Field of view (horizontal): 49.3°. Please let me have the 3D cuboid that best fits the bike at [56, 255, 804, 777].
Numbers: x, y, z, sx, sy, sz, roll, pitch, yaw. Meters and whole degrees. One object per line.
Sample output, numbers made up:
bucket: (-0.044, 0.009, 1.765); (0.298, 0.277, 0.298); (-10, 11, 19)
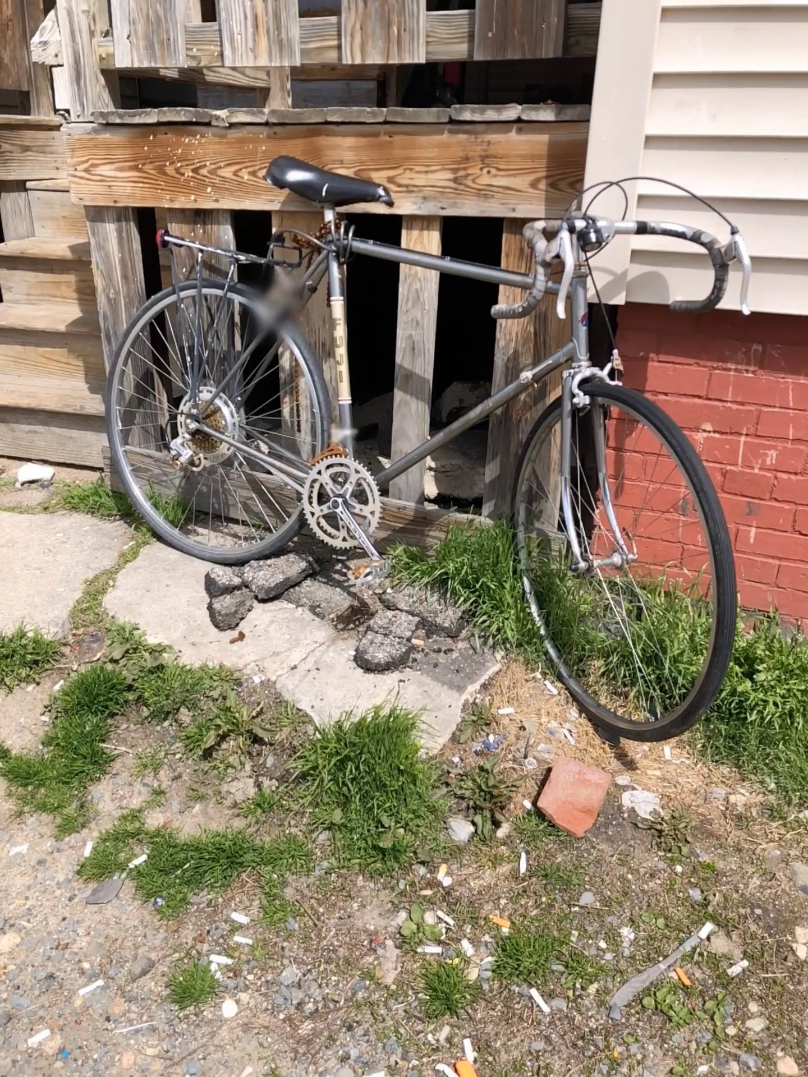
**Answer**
bike: (-0.036, -0.156, 1.464); (1.202, 0.478, 0.400); (18, 28, 32)
